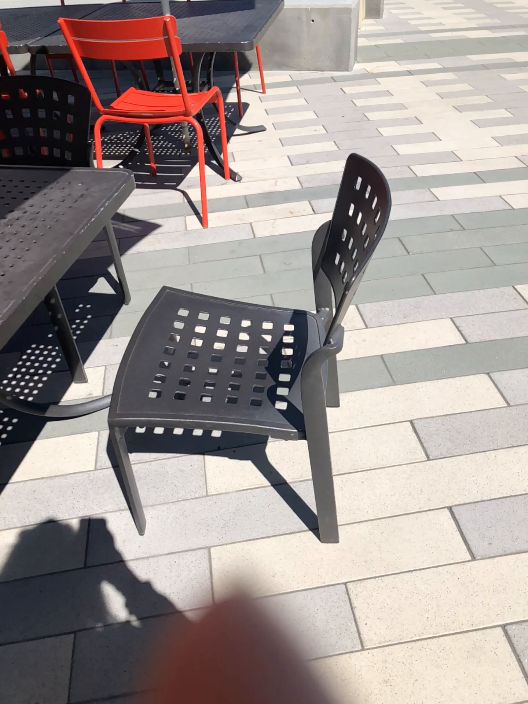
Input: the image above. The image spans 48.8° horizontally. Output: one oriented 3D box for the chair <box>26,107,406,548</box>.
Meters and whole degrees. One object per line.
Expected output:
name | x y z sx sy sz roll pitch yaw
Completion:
chair | -0.068 -0.042 1.248 0.530 0.756 0.523 3 39 1
